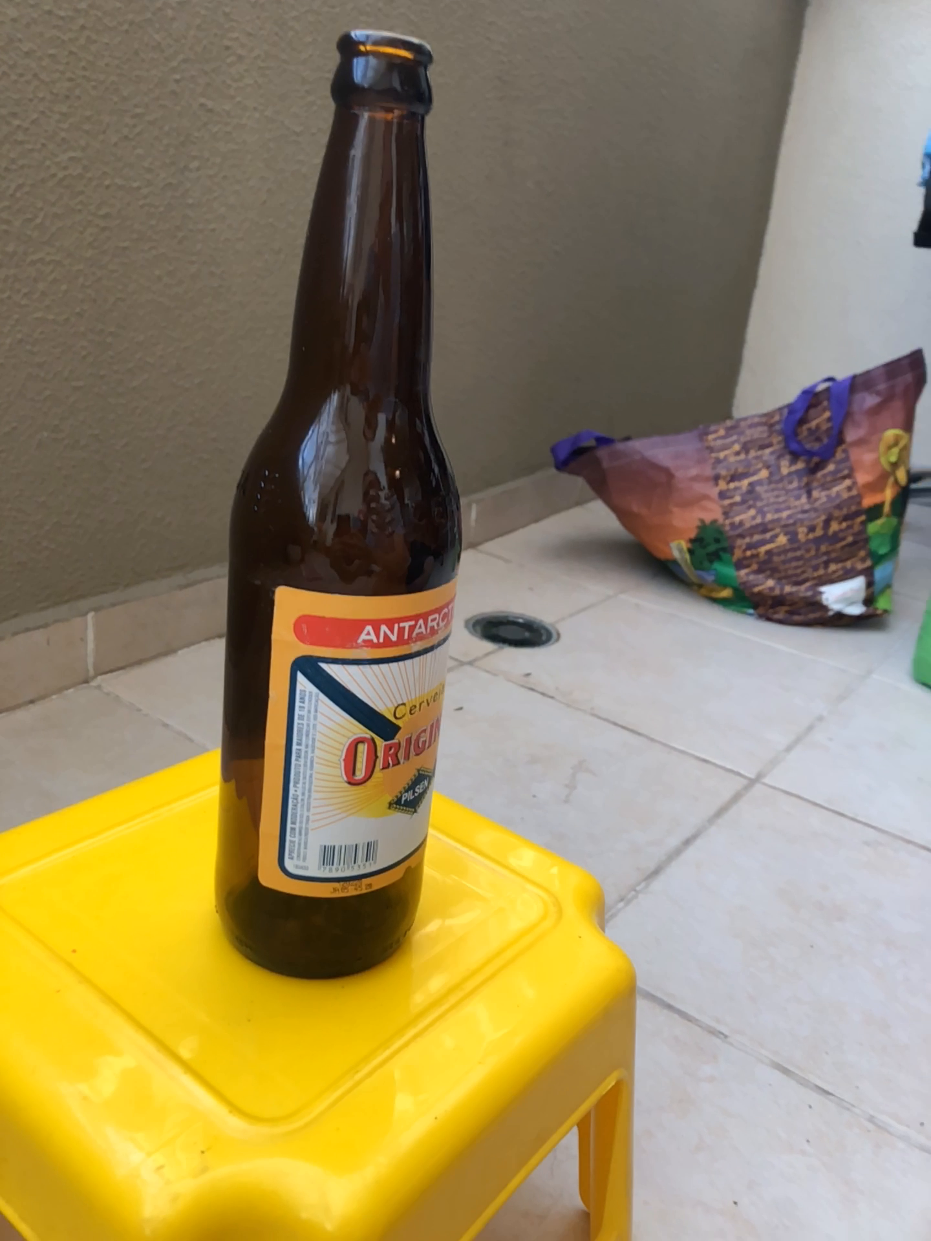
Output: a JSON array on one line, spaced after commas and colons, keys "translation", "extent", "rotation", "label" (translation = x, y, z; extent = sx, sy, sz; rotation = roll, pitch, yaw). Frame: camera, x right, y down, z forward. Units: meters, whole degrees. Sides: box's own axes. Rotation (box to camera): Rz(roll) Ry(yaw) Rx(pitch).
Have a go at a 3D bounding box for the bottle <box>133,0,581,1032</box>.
[{"translation": [-0.043, -0.028, 0.322], "extent": [0.080, 0.288, 0.080], "rotation": [7, 20, -2], "label": "bottle"}]
